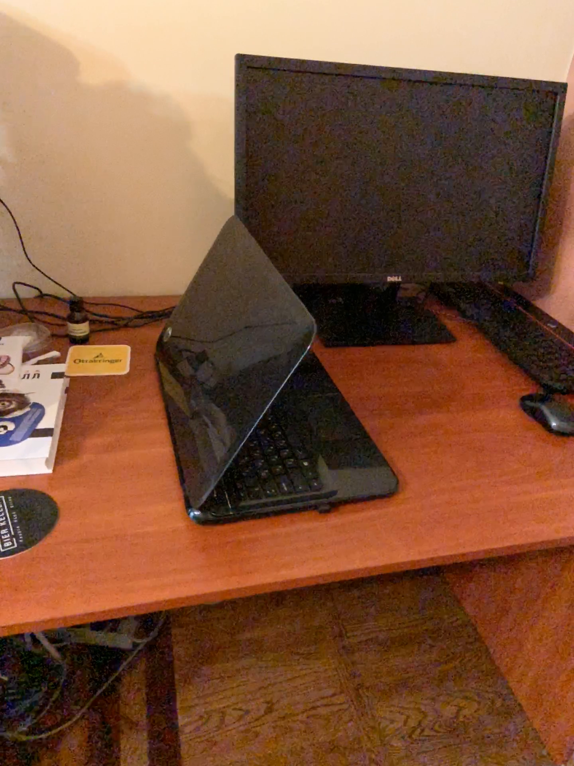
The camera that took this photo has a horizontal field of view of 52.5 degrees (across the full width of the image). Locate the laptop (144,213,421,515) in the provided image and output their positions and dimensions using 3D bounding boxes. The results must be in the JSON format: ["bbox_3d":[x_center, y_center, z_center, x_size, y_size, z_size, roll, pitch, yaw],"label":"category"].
[{"bbox_3d":[-0.039,-0.053,0.708,0.222,0.198,0.350,-4,33,-17],"label":"laptop"}]
